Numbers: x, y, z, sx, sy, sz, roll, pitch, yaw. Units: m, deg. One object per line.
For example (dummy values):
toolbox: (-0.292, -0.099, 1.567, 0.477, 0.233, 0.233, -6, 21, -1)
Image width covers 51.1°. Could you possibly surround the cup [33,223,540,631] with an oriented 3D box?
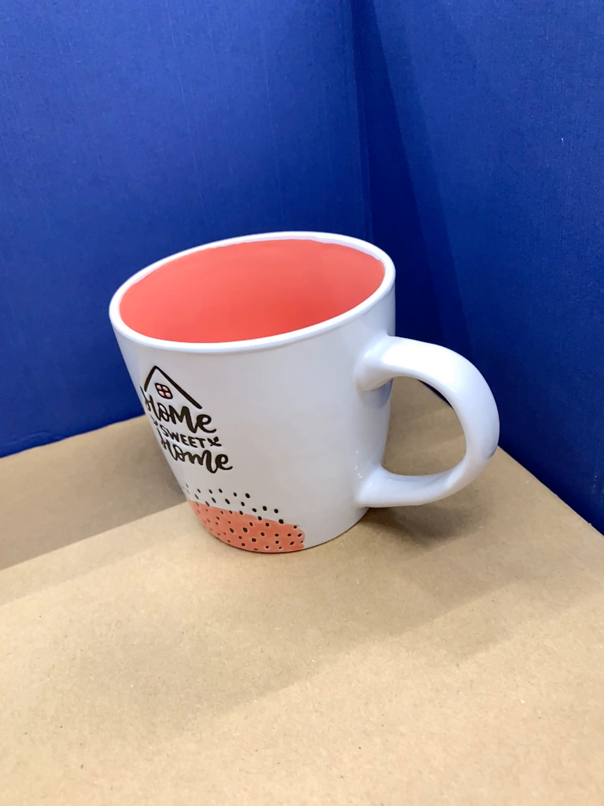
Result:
cup: (0.000, -0.006, 0.193, 0.116, 0.070, 0.083, 12, 36, 30)
